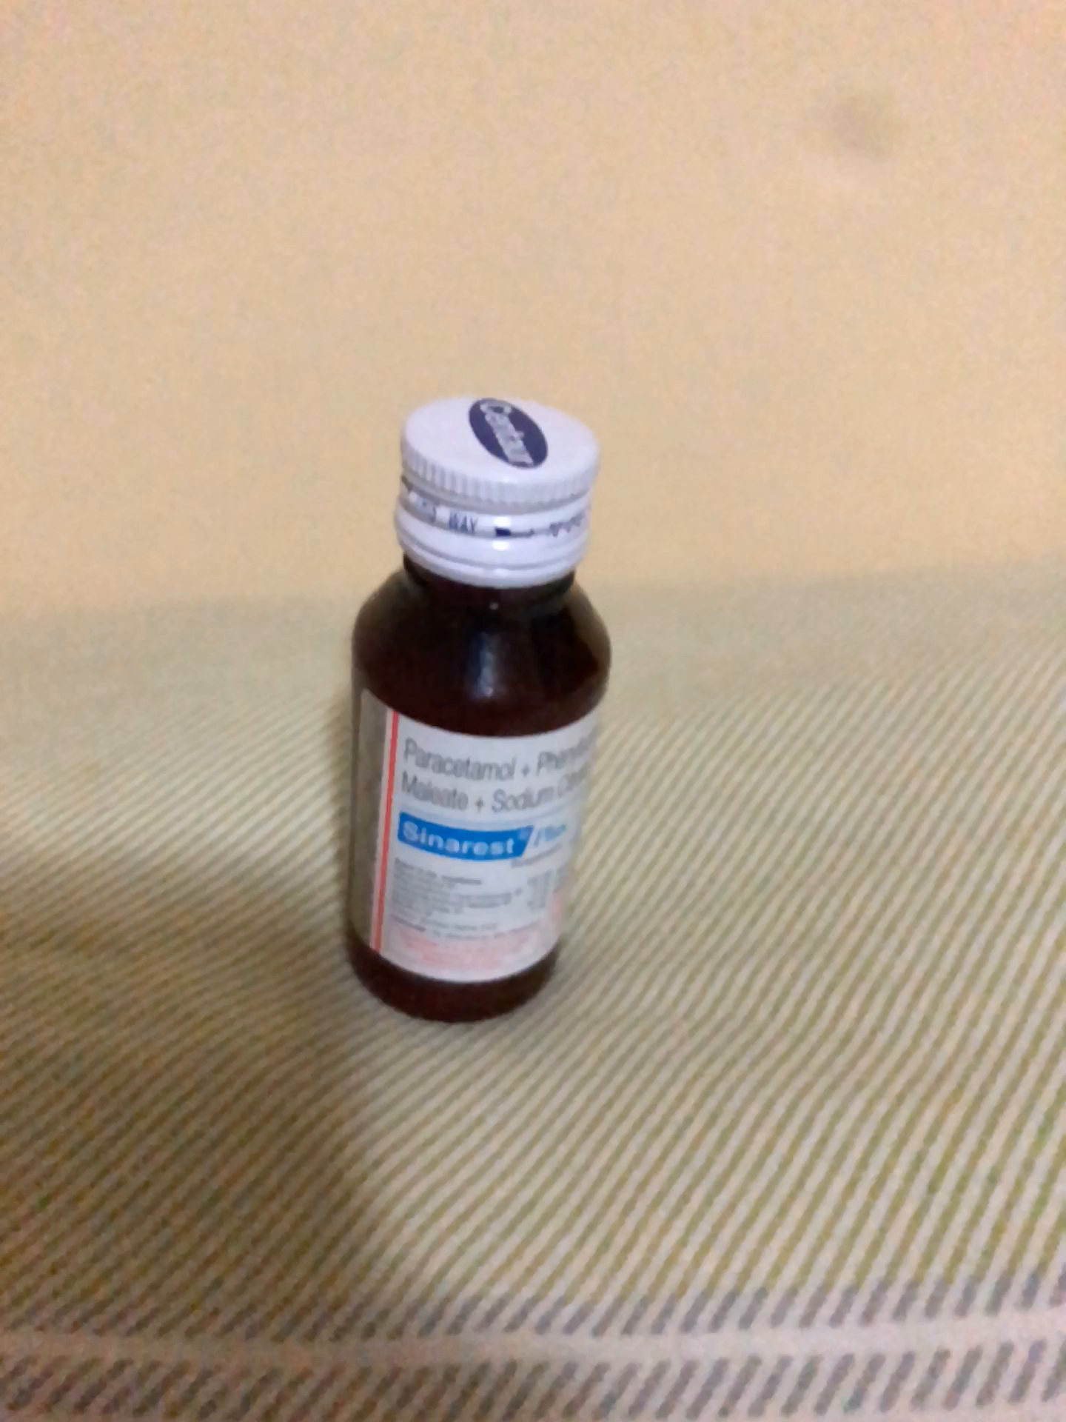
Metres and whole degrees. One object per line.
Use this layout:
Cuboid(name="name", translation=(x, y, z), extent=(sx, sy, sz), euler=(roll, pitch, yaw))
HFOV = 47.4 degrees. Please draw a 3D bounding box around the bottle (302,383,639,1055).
Cuboid(name="bottle", translation=(-0.010, 0.006, 0.188), extent=(0.040, 0.100, 0.037), euler=(3, 38, -2))
